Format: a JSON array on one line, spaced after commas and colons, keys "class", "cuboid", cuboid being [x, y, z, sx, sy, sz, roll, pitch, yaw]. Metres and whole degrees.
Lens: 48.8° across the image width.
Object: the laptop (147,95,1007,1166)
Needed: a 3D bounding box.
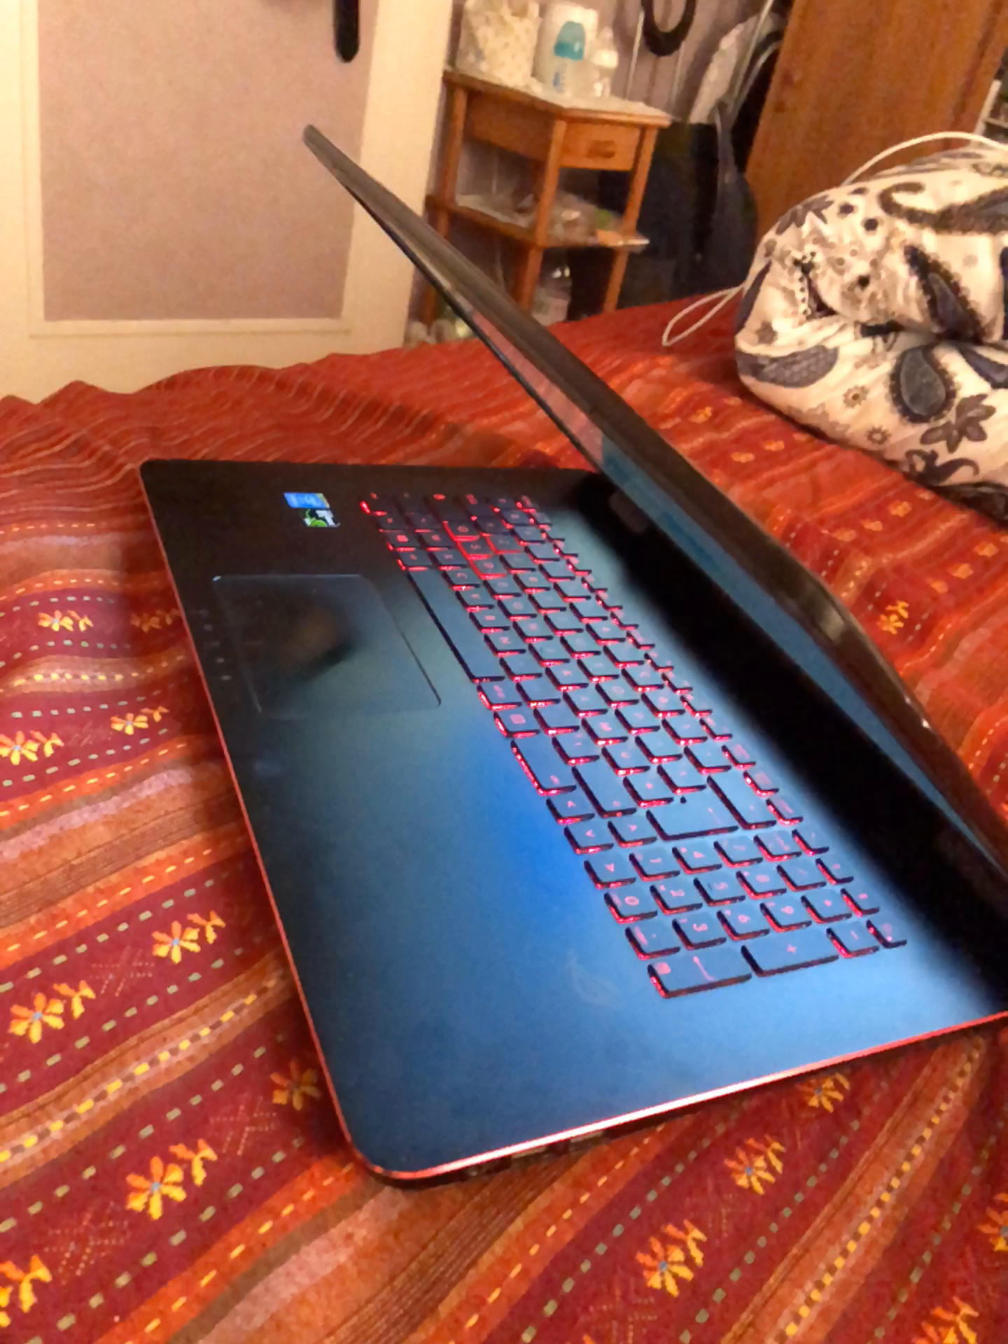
[{"class": "laptop", "cuboid": [0.029, -0.070, 0.436, 0.268, 0.168, 0.400, -3, 37, -25]}]
